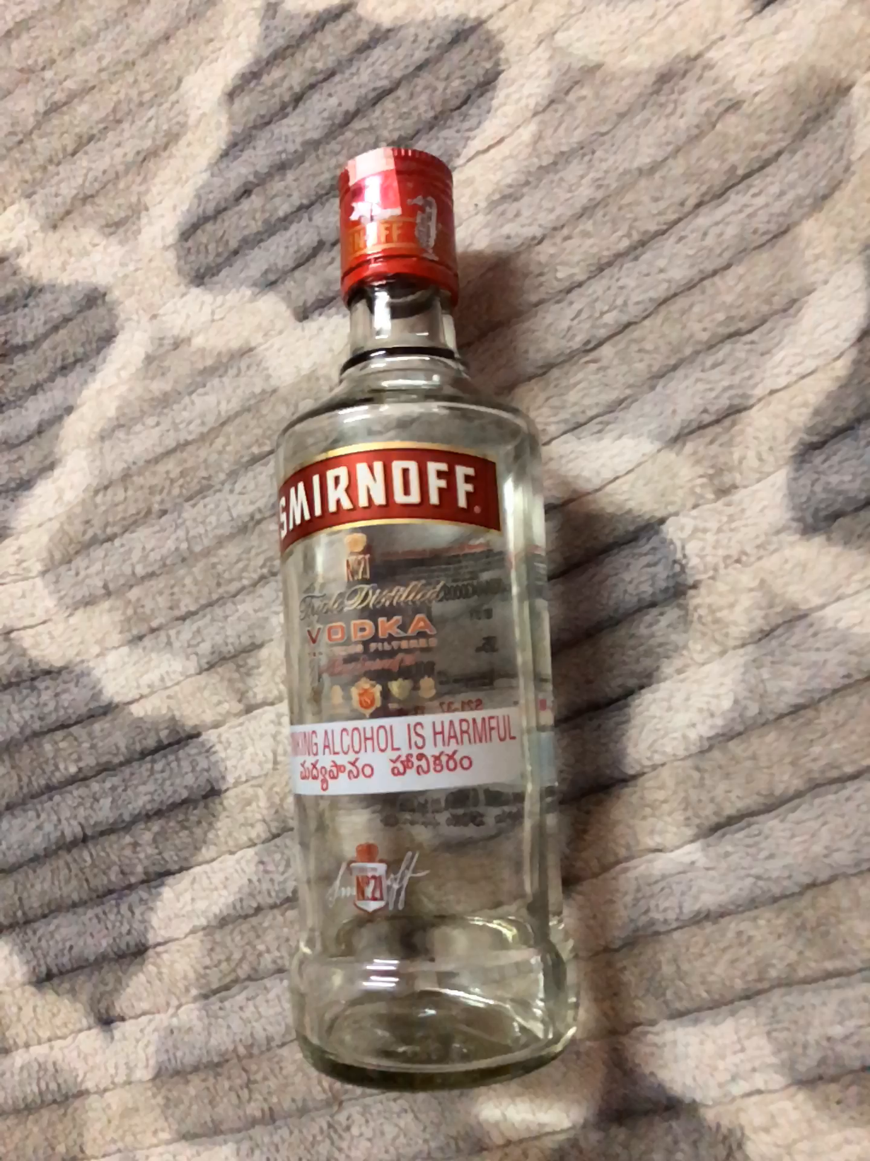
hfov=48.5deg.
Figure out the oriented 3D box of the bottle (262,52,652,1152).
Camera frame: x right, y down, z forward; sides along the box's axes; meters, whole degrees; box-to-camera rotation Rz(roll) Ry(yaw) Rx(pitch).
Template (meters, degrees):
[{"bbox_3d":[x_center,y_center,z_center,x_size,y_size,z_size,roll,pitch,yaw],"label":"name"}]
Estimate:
[{"bbox_3d":[0.005,0.001,0.240,0.070,0.060,0.230,-6,80,19],"label":"bottle"}]
